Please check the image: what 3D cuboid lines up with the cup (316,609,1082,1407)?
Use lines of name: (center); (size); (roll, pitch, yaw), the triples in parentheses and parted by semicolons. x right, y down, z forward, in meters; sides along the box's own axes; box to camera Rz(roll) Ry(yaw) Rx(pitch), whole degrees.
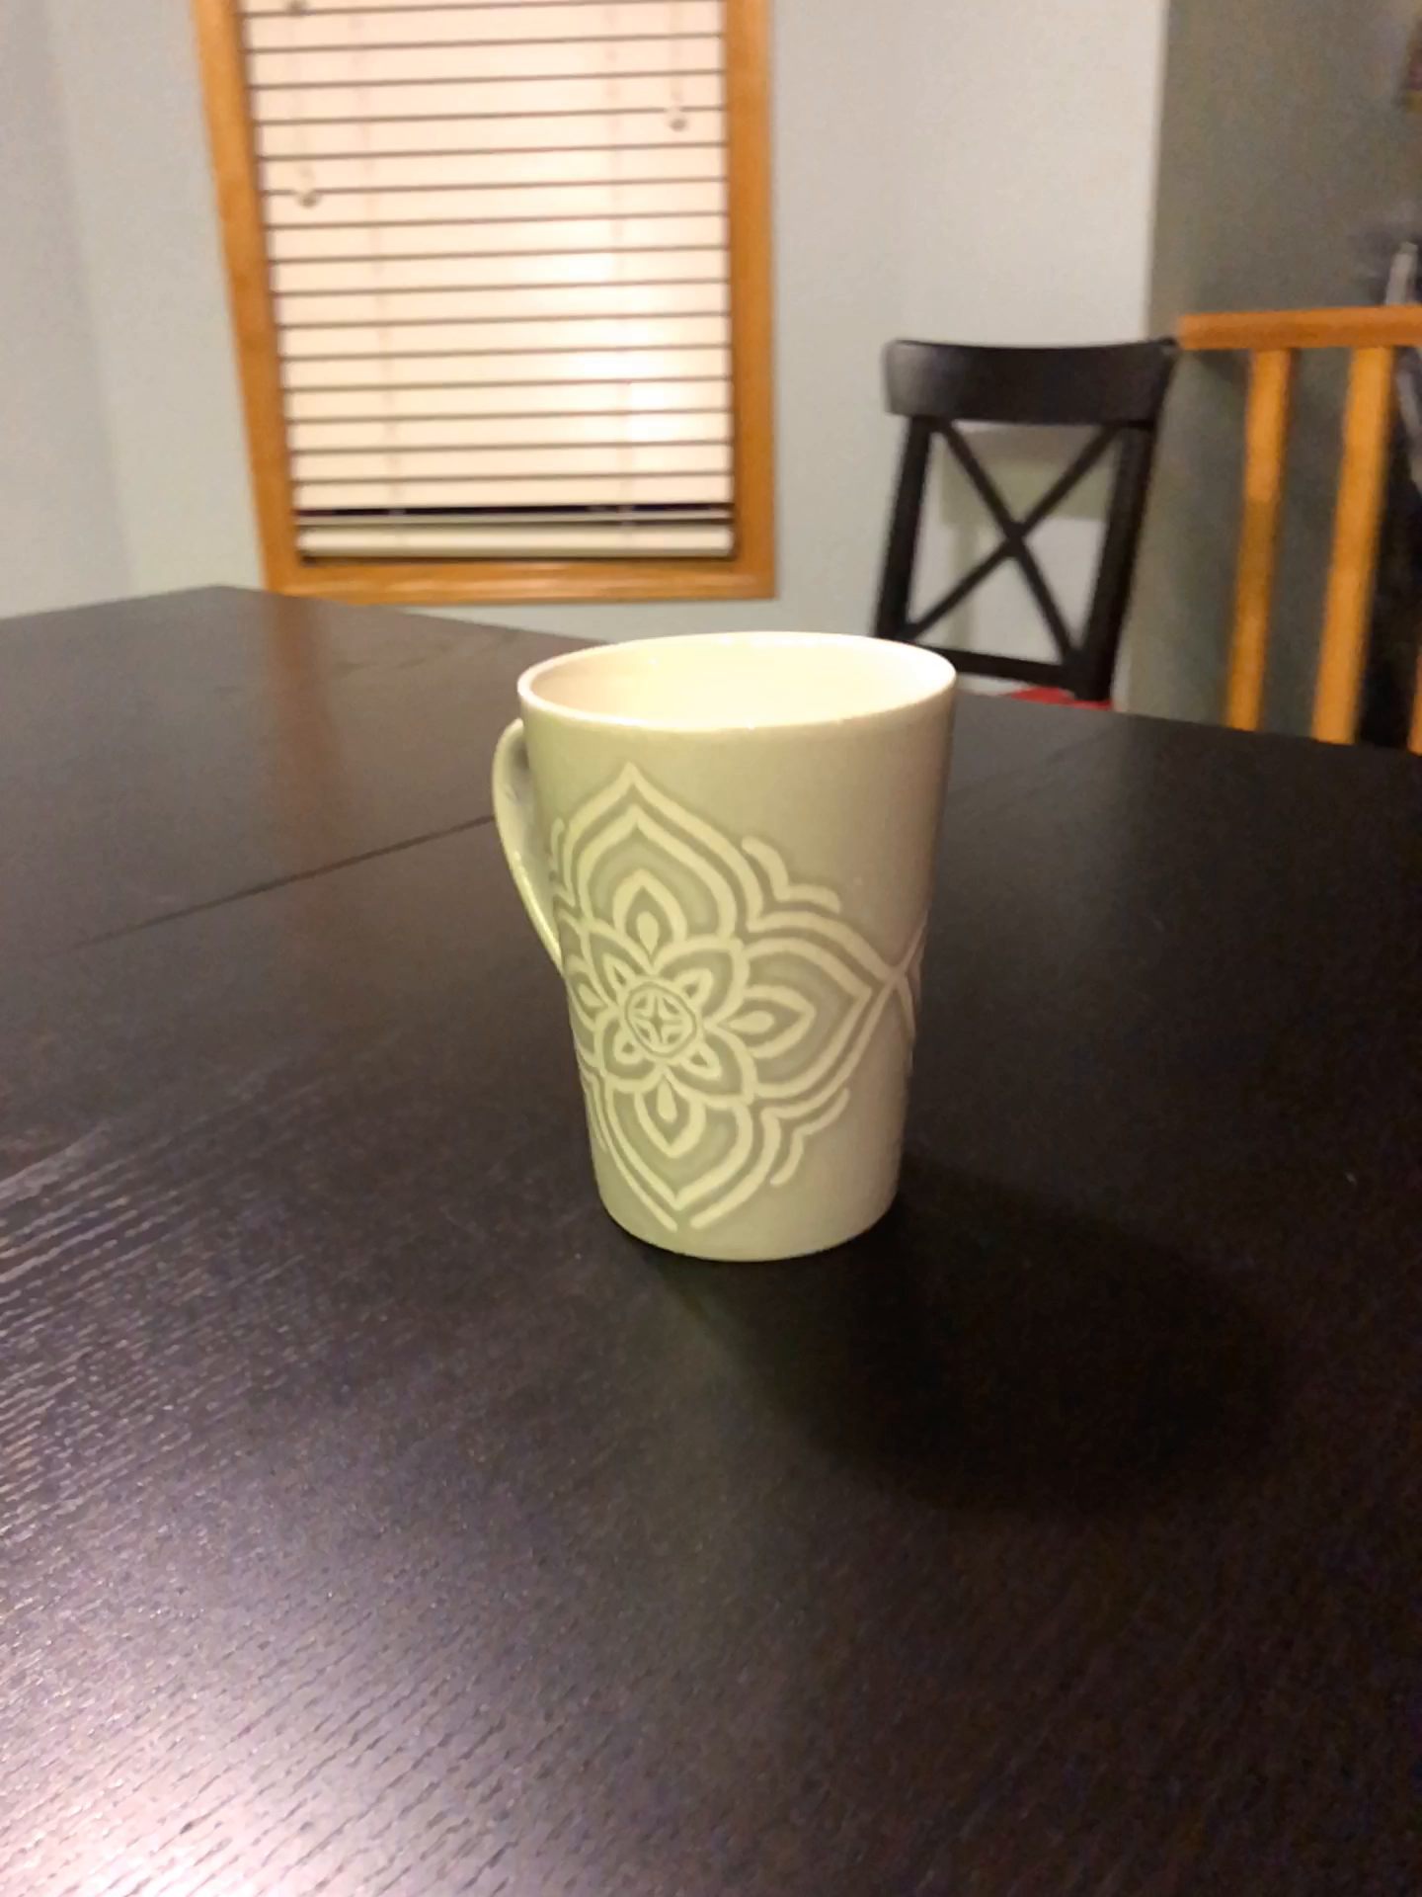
cup: (-0.002, 0.000, 0.361); (0.130, 0.129, 0.100); (15, 26, 38)
